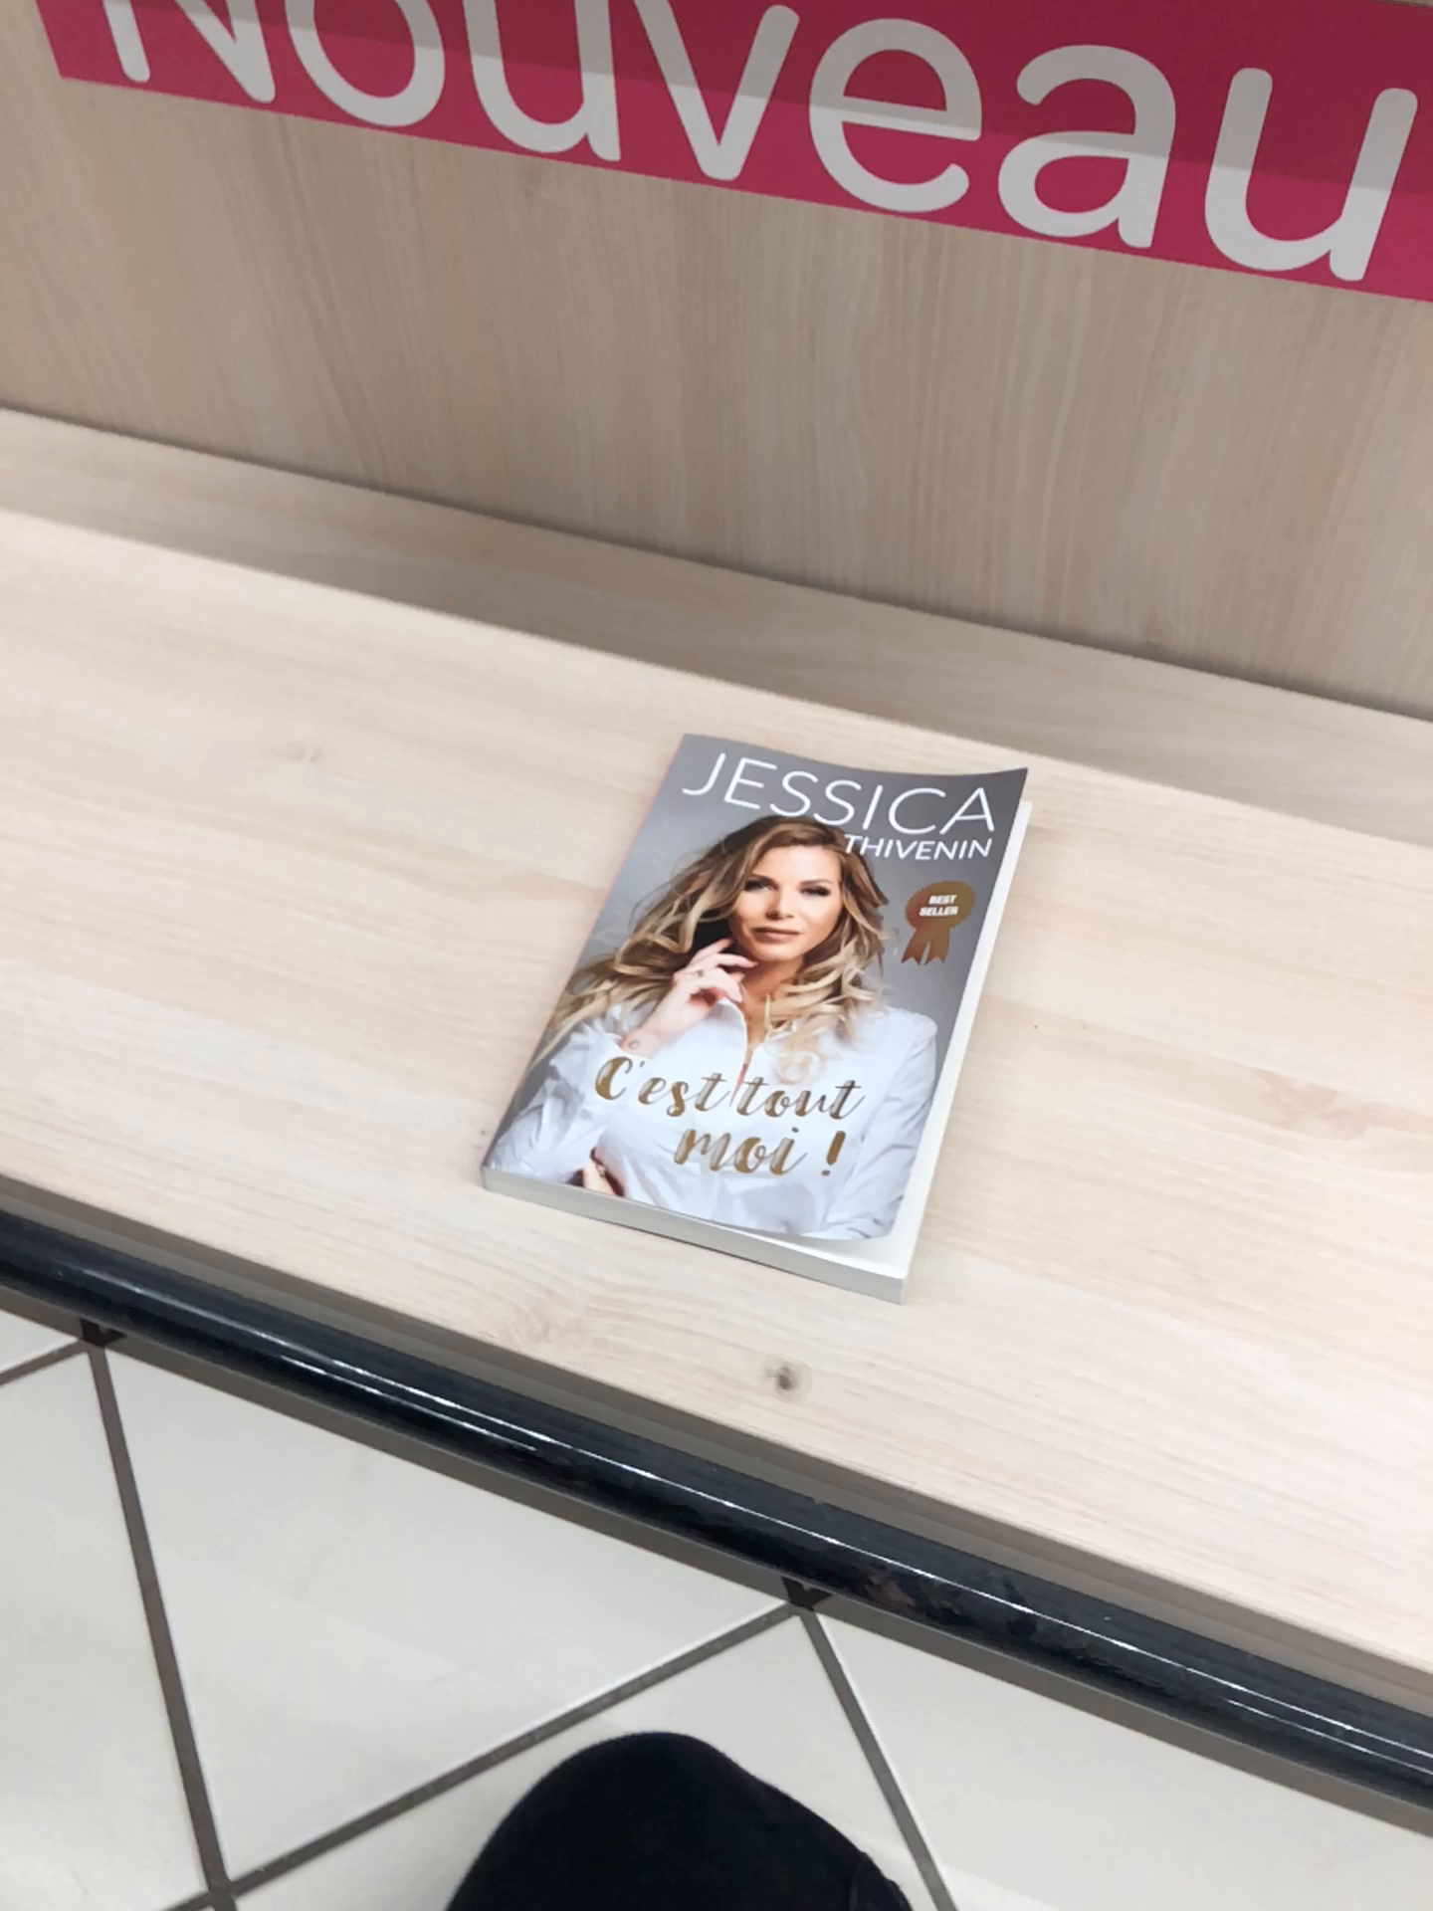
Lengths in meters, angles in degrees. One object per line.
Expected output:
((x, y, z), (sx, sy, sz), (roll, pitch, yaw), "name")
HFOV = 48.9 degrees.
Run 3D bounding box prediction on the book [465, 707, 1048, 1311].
((0.023, 0.006, 0.552), (0.146, 0.020, 0.213), (14, 54, 12), "book")
